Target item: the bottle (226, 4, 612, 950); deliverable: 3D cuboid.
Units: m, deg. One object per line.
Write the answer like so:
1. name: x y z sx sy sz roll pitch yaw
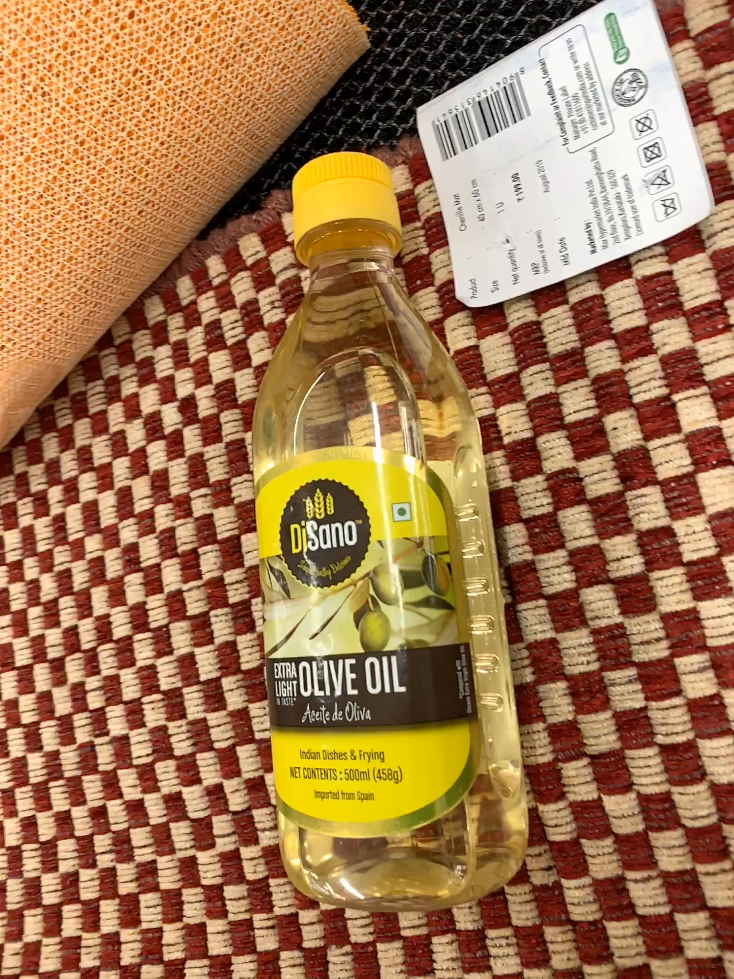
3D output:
1. bottle: 0.014 -0.006 0.223 0.070 0.060 0.230 -10 80 26
